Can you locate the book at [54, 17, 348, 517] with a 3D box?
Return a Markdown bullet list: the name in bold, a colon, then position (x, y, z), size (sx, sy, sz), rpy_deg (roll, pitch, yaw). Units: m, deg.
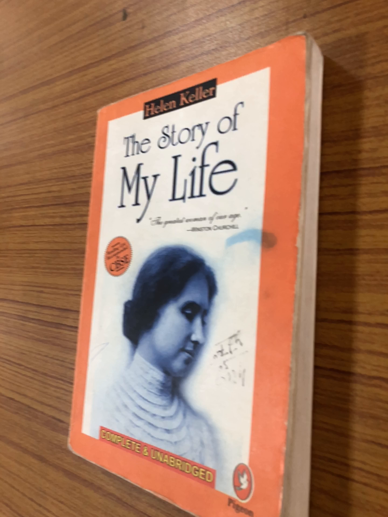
- **book**: position (-0.004, 0.009, 0.182), size (0.121, 0.030, 0.170), rpy_deg (-1, 83, 40)
